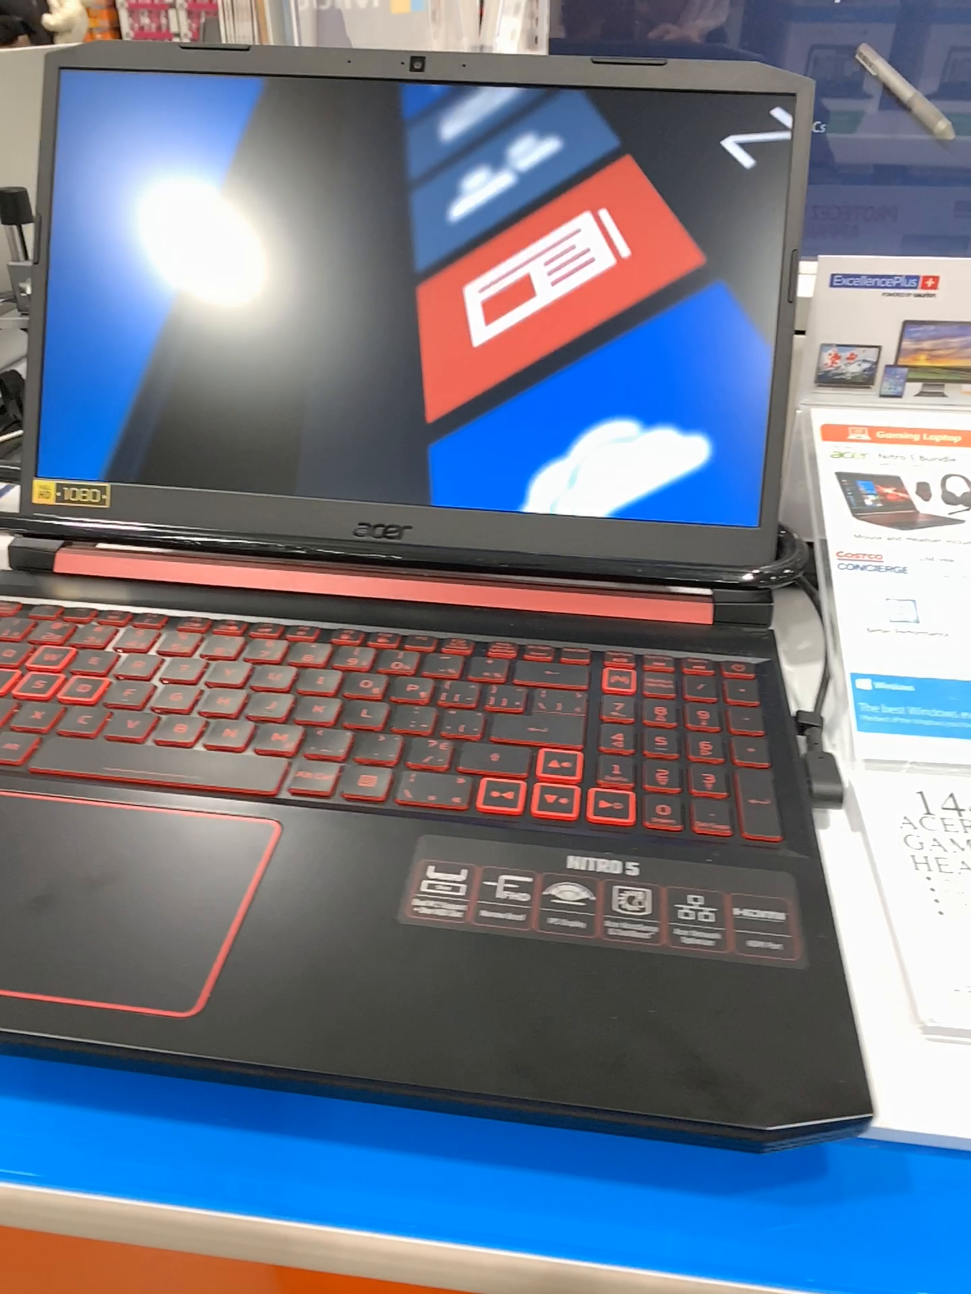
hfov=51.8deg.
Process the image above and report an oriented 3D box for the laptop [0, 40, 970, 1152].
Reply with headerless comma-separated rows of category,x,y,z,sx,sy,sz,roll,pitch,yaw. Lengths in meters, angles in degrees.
laptop,-0.061,-0.091,0.368,0.358,0.198,0.381,5,35,7
